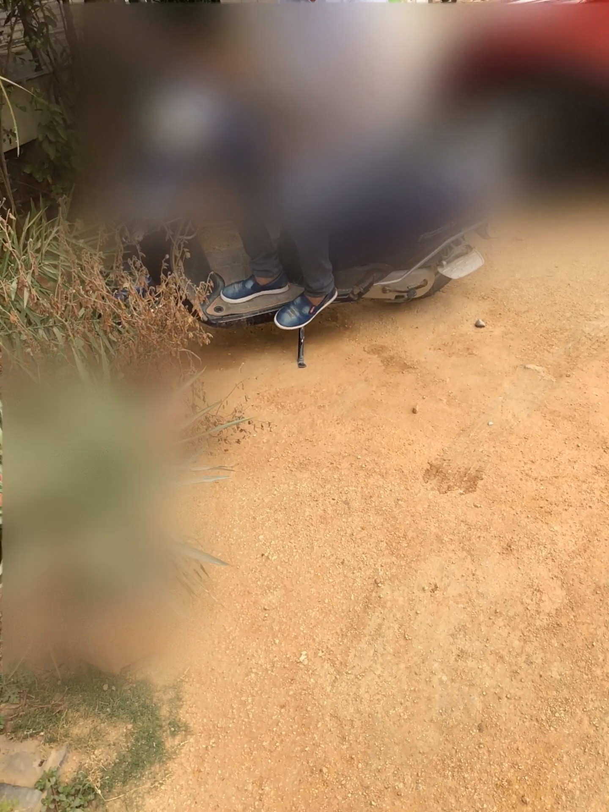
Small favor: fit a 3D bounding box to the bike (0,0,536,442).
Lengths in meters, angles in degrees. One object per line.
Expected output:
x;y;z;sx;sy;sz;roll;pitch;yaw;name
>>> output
-0.069;-0.722;2.484;1.623;1.222;0.590;-17;34;-13;bike
